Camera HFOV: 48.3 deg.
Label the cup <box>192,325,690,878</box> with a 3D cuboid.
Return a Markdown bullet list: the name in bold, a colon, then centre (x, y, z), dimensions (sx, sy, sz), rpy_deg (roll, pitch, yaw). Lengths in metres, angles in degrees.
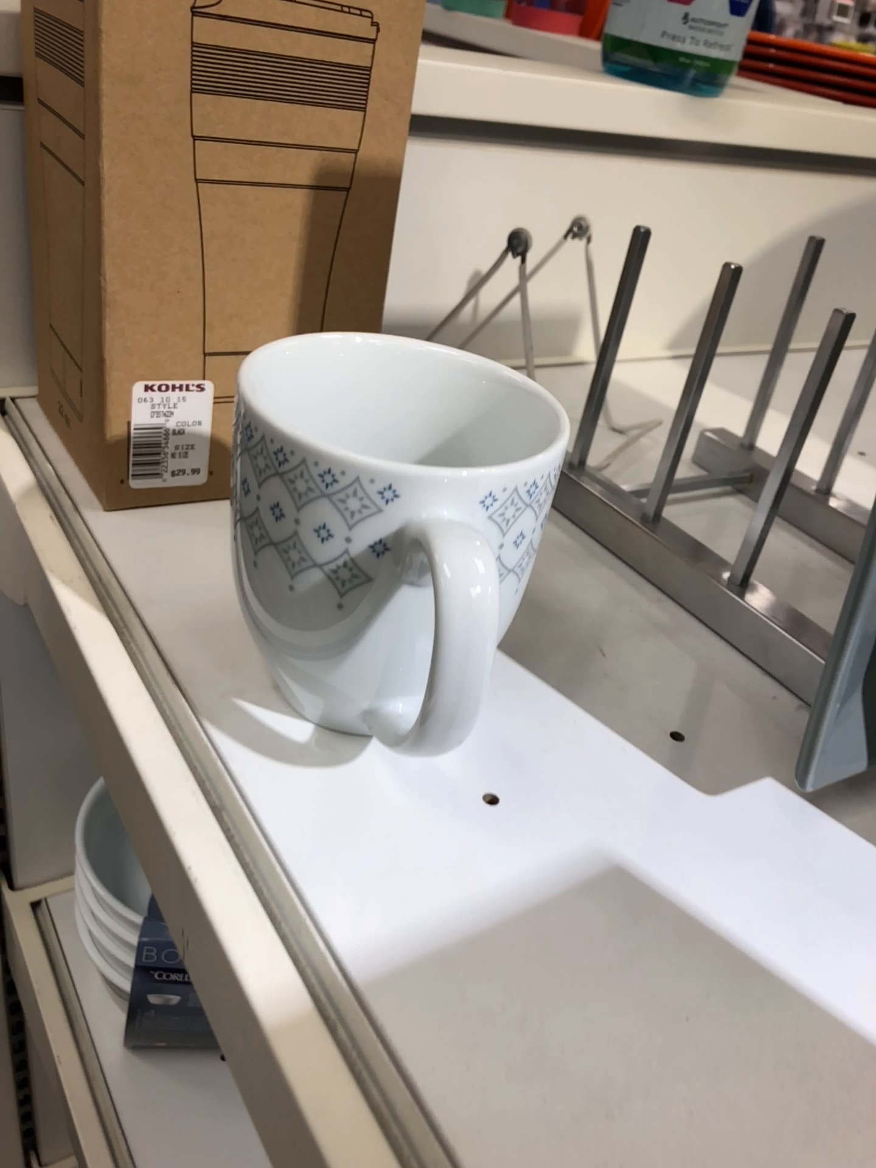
- **cup**: centre (-0.015, -0.007, 0.293), dimensions (0.099, 0.099, 0.136), rpy_deg (-4, 32, -20)
